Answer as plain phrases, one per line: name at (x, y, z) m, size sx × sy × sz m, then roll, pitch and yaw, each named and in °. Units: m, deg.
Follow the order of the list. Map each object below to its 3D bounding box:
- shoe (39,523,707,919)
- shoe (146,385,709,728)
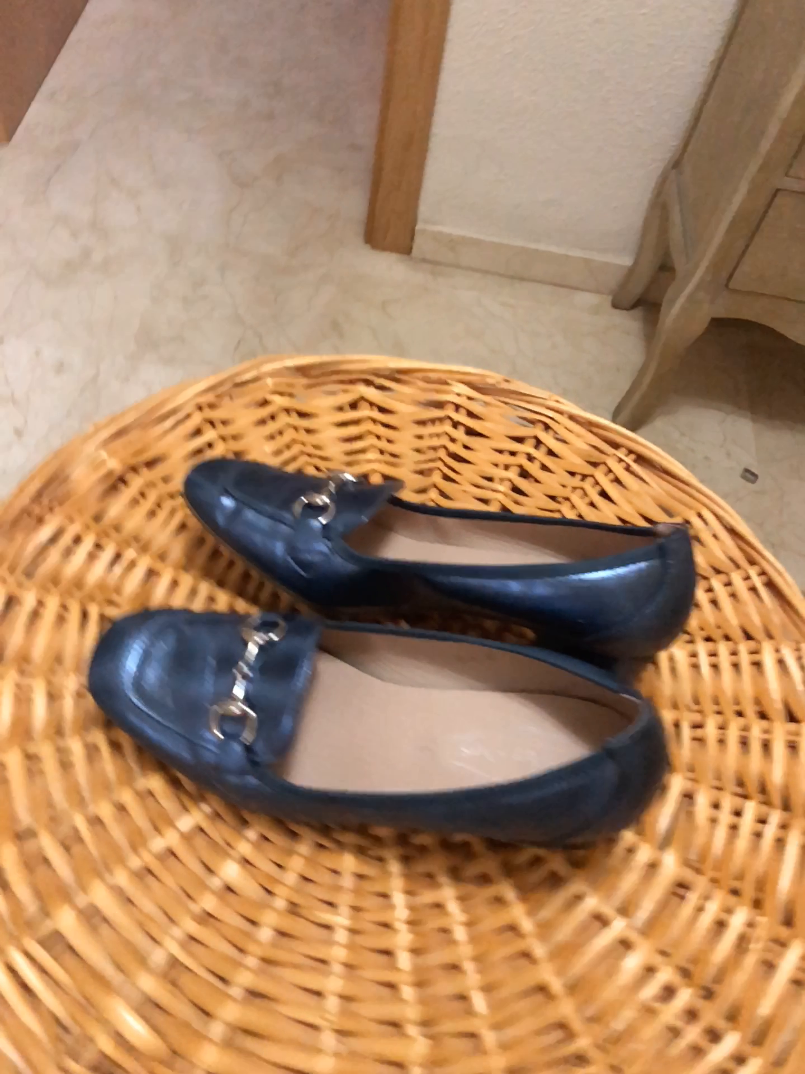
shoe at (-0.009, 0.075, 0.397) m, size 0.260 × 0.090 × 0.090 m, roll 9°, pitch 46°, yaw 14°
shoe at (0.015, 0.002, 0.455) m, size 0.250 × 0.090 × 0.100 m, roll 10°, pitch 46°, yaw 18°
